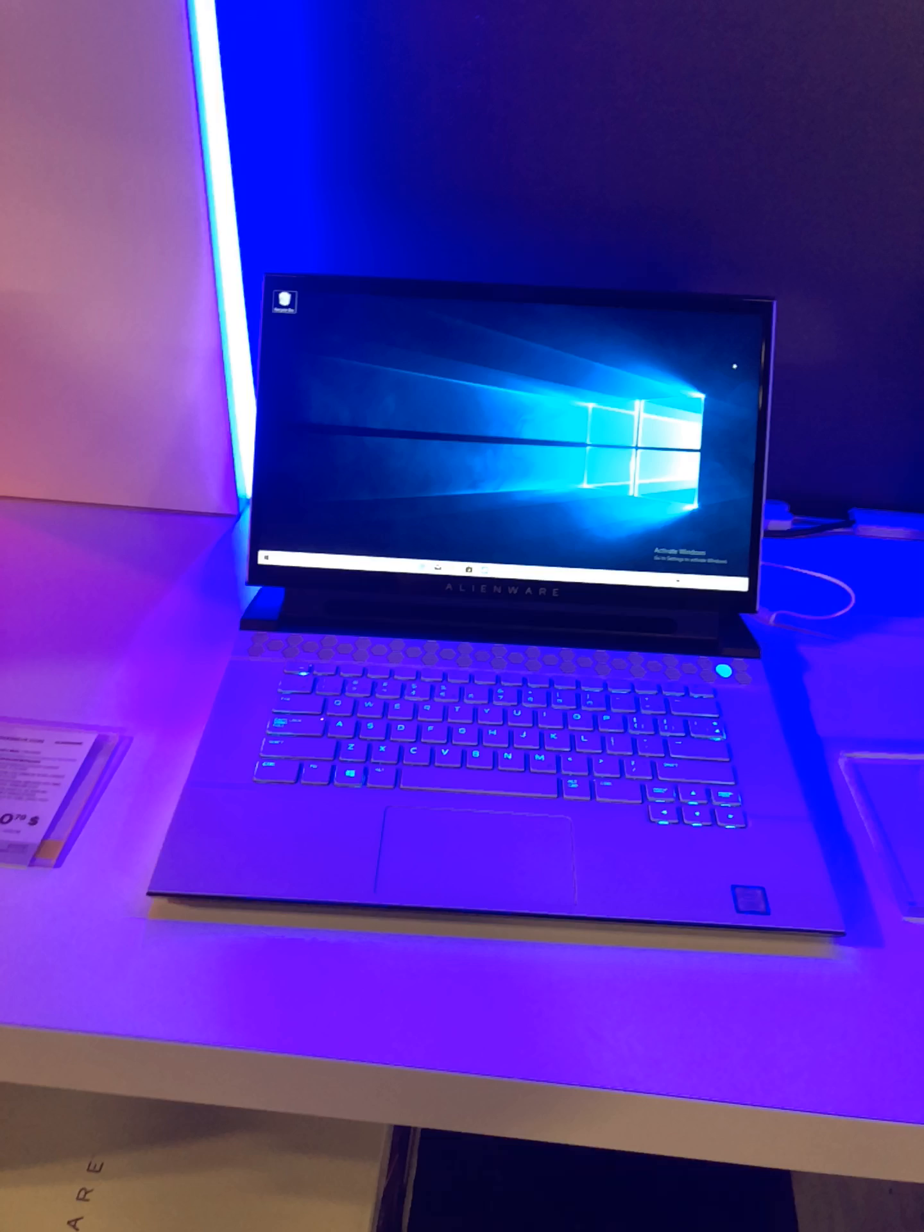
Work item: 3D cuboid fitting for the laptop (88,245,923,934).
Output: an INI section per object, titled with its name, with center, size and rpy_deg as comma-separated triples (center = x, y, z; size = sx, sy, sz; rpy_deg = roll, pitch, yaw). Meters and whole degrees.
[laptop]
center = 0.027, -0.049, 0.617
size = 0.356, 0.194, 0.381
rpy_deg = 3, 39, 1
